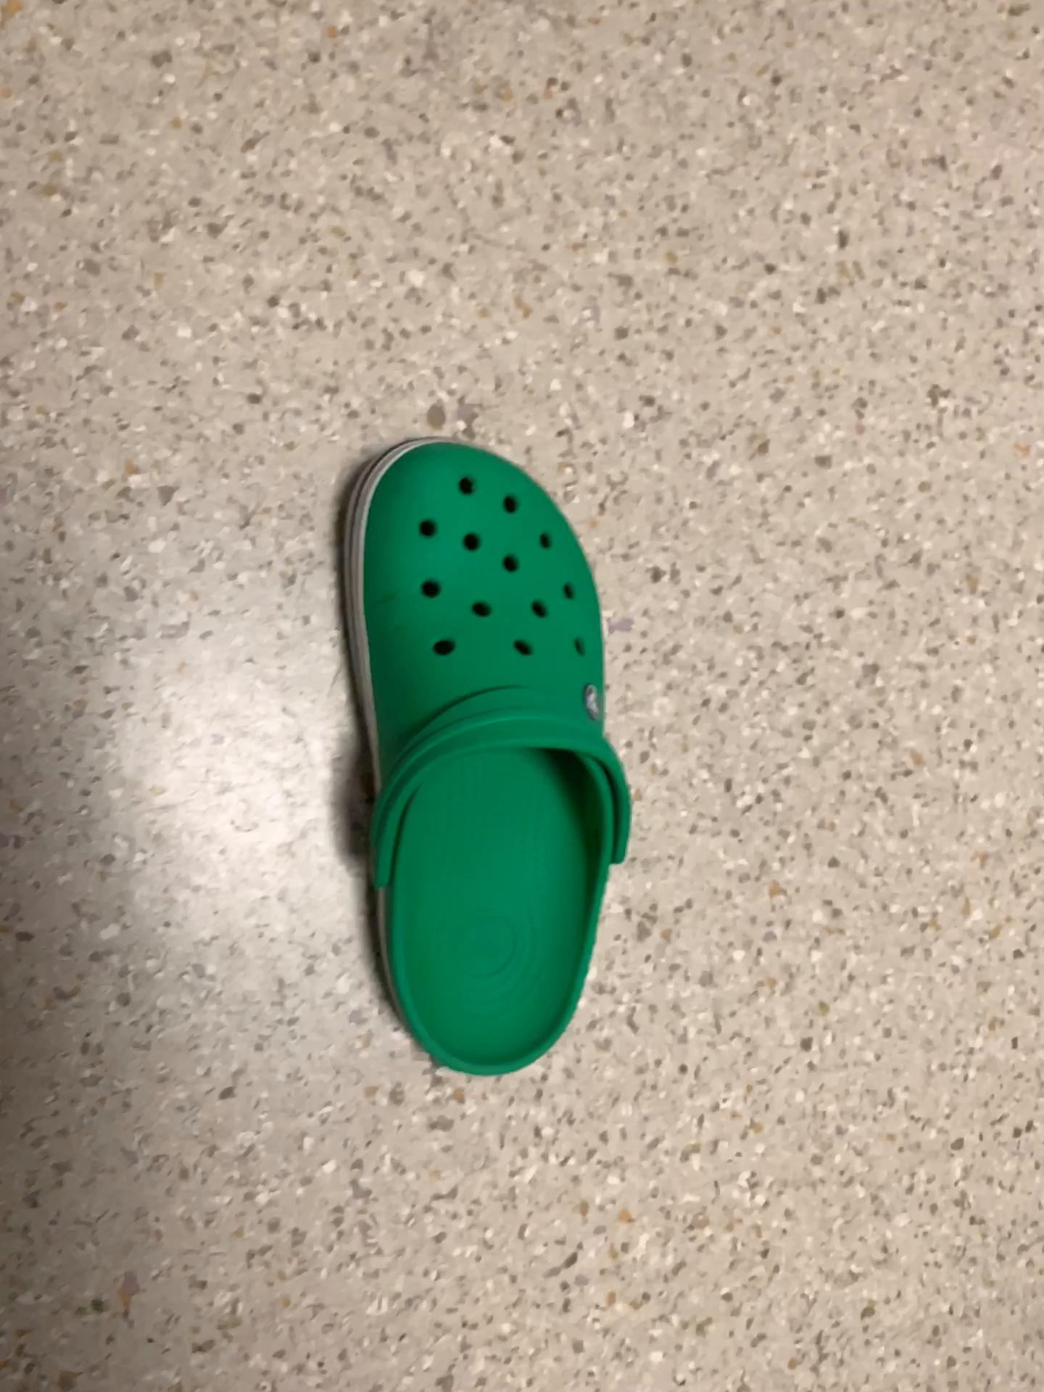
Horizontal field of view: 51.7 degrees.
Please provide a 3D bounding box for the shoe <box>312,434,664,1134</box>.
[{"bbox_3d":[-0.017,0.028,0.417,0.108,0.082,0.234,-2,89,-19],"label":"shoe"}]
